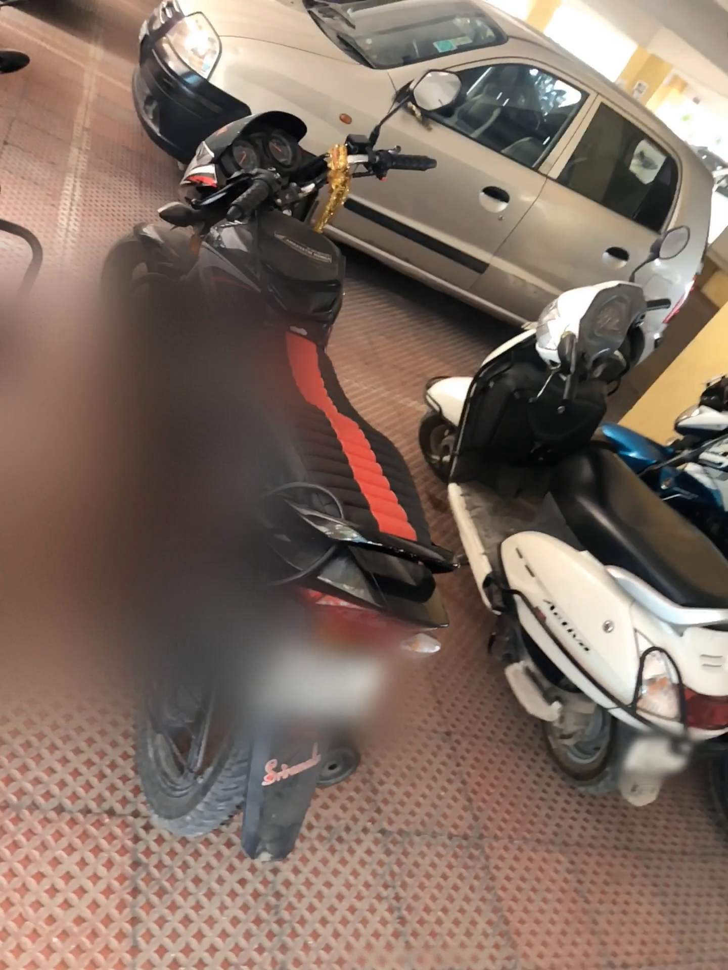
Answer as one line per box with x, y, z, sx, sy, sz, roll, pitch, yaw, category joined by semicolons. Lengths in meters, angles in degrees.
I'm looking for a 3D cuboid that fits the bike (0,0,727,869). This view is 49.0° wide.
-0.324;-0.222;1.661;0.747;1.011;1.559;12;38;-36;bike
